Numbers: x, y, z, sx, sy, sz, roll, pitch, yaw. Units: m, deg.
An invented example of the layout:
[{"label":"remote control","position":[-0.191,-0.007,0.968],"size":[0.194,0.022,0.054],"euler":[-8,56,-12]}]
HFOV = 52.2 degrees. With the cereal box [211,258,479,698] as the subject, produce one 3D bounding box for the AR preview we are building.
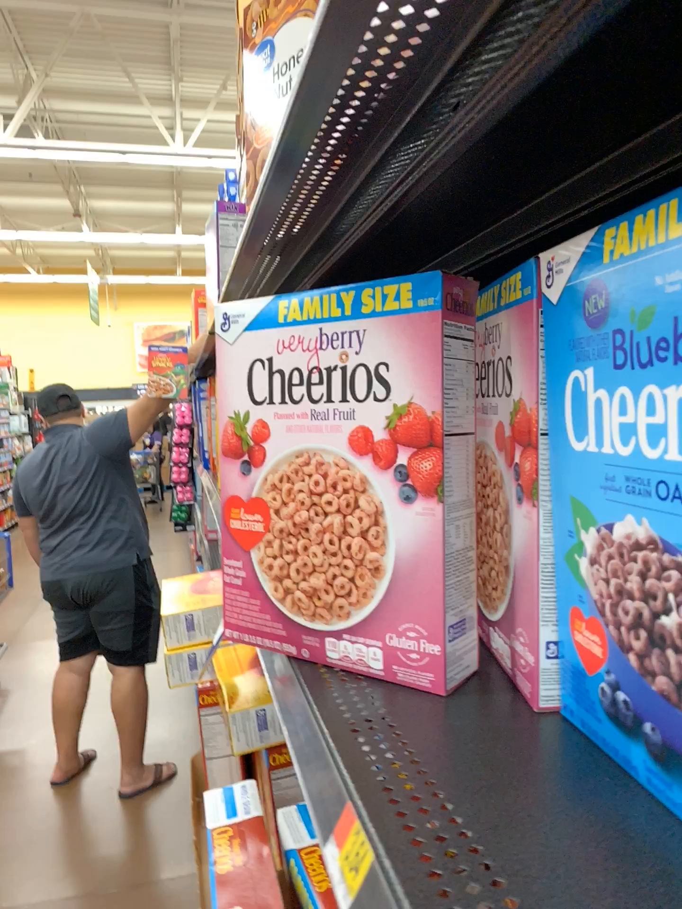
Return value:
[{"label":"cereal box","position":[-0.005,0.015,0.601],"size":[0.240,0.320,0.060],"euler":[1,3,37]}]
